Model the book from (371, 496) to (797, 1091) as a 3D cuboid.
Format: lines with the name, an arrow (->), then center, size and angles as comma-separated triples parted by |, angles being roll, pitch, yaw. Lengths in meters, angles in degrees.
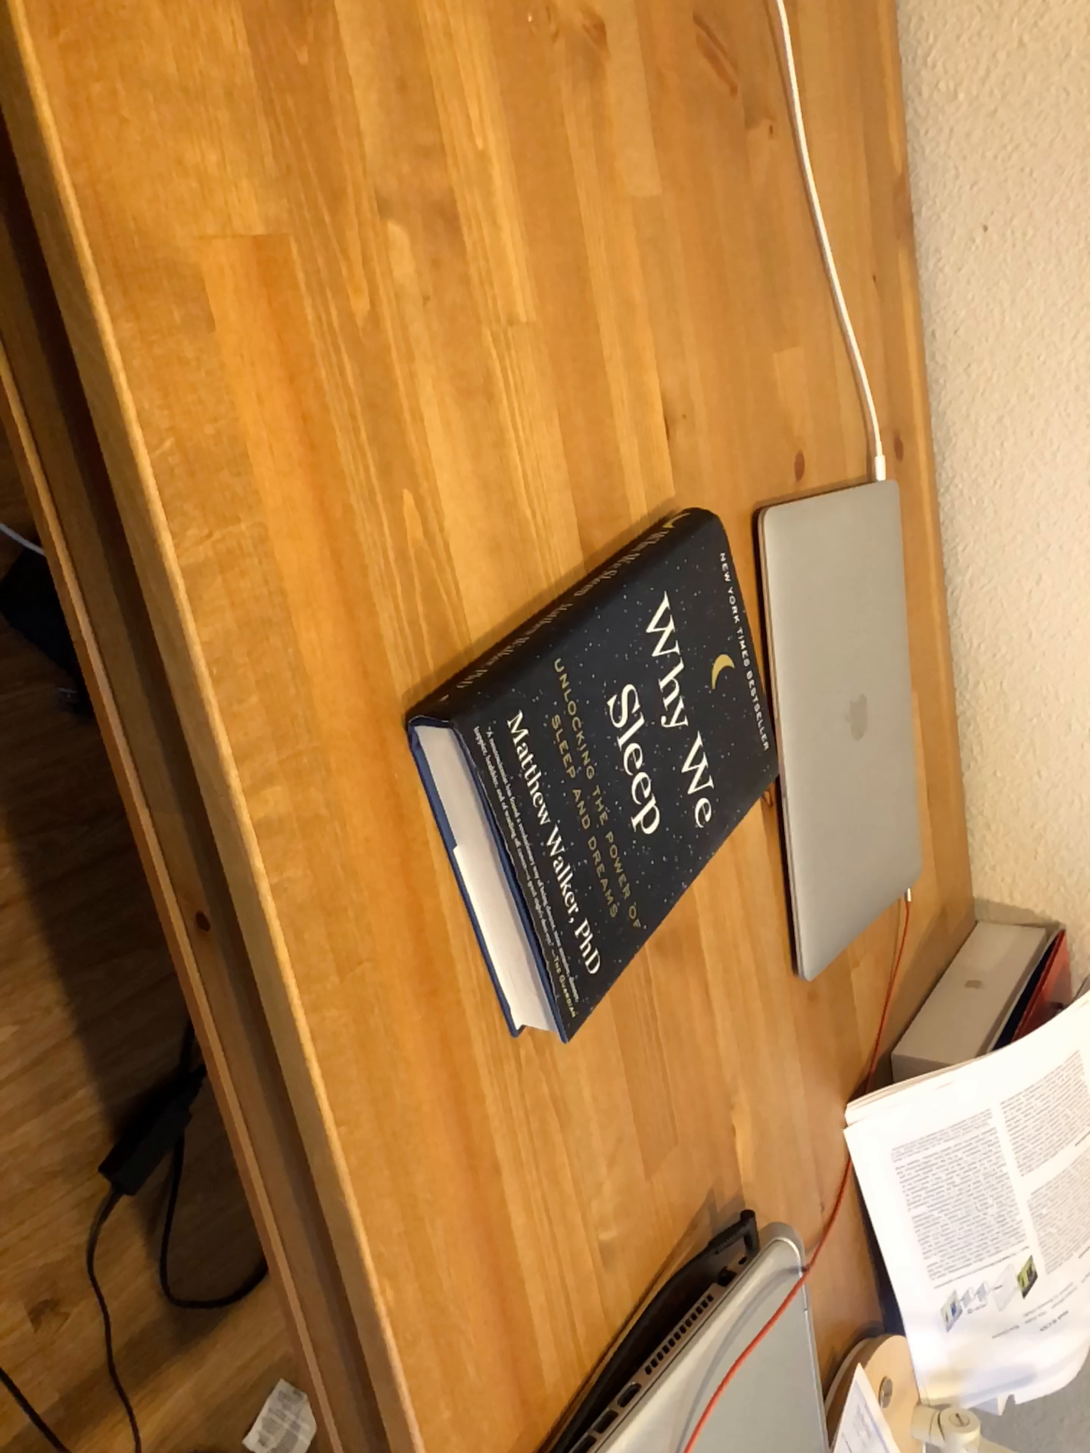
book -> 0.037, 0.018, 0.558 | 0.241, 0.040, 0.170 | -42, 124, -45
